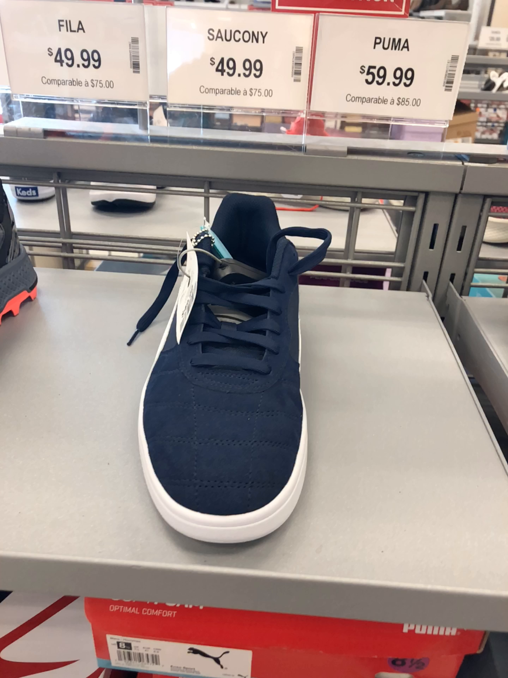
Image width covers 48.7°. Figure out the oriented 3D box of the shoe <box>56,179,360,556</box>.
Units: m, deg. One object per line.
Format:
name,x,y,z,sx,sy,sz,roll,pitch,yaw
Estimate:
shoe,-0.016,-0.008,0.353,0.119,0.119,0.242,3,29,1
